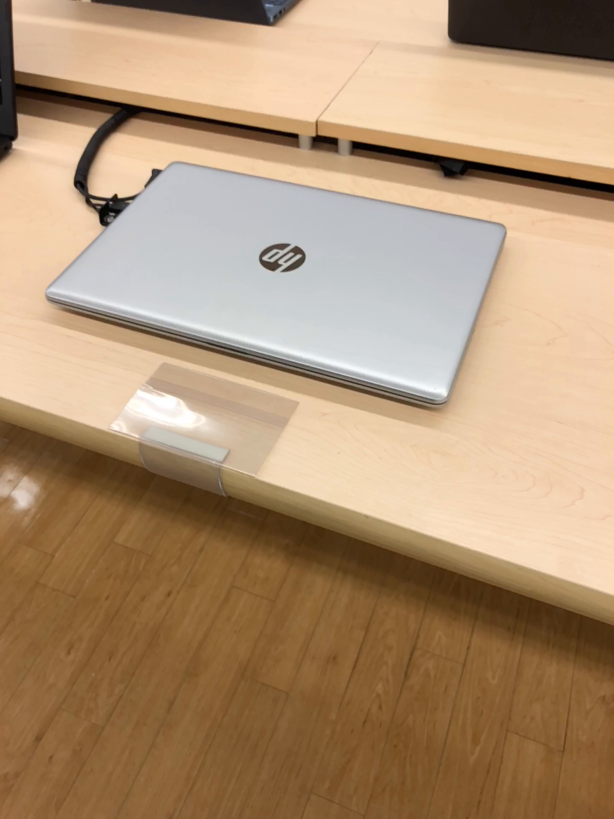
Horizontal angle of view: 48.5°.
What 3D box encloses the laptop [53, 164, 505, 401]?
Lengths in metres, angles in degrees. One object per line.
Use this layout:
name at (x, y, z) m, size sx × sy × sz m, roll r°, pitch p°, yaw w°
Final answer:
laptop at (-0.022, -0.153, 0.700) m, size 0.397 × 0.001 × 0.258 m, roll 16°, pitch 52°, yaw 16°
